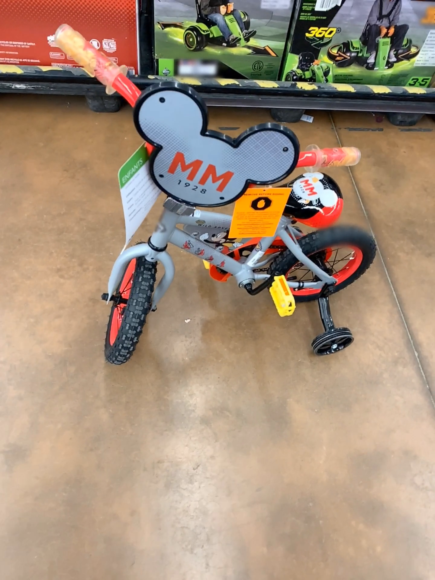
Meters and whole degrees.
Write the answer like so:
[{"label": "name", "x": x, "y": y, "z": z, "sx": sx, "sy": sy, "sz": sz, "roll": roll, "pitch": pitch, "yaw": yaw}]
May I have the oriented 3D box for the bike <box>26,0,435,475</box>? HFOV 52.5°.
[{"label": "bike", "x": 0.094, "y": -0.079, "z": 0.915, "sx": 0.679, "sy": 0.742, "sz": 0.449, "roll": -21, "pitch": 60, "yaw": -17}]
